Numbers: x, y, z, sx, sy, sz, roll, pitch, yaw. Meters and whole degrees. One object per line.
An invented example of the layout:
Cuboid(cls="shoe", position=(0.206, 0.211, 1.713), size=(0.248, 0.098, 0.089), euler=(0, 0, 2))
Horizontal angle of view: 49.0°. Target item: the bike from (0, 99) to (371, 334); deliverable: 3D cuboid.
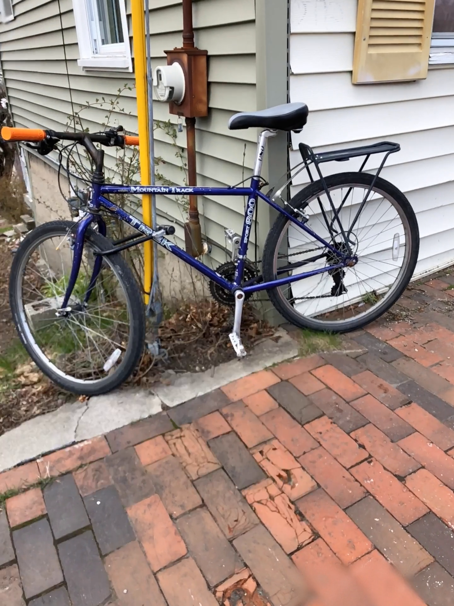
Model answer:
Cuboid(cls="bike", position=(-0.211, -0.326, 1.832), size=(1.146, 0.690, 0.515), euler=(-2, 26, 2))
